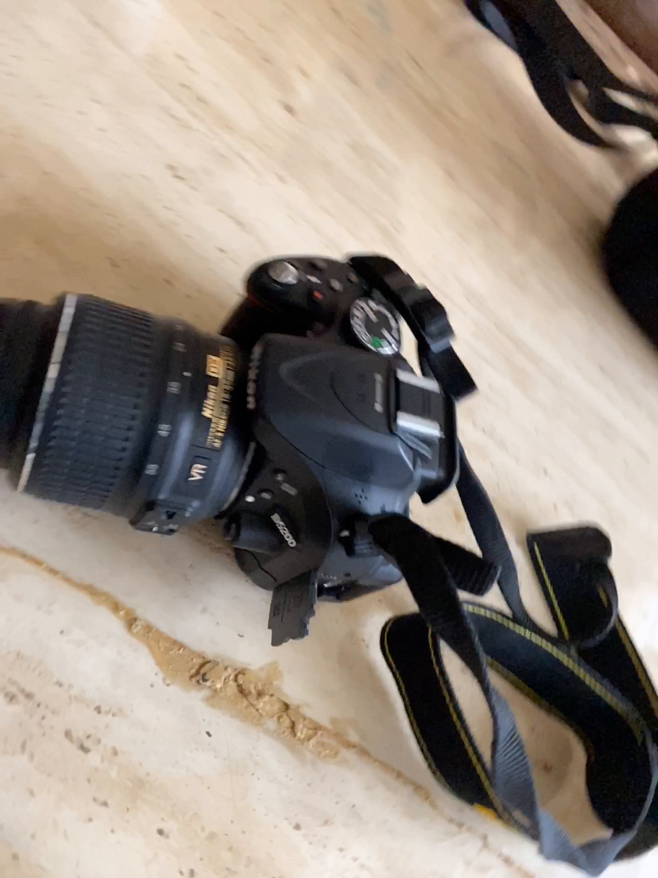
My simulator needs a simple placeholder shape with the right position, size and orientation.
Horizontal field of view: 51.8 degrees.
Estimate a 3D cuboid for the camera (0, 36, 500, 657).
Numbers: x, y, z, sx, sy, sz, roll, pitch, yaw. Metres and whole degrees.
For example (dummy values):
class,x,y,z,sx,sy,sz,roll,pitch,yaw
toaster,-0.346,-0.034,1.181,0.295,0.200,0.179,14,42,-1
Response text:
class,x,y,z,sx,sy,sz,roll,pitch,yaw
camera,-0.039,-0.014,0.243,0.160,0.100,0.152,16,61,-26
